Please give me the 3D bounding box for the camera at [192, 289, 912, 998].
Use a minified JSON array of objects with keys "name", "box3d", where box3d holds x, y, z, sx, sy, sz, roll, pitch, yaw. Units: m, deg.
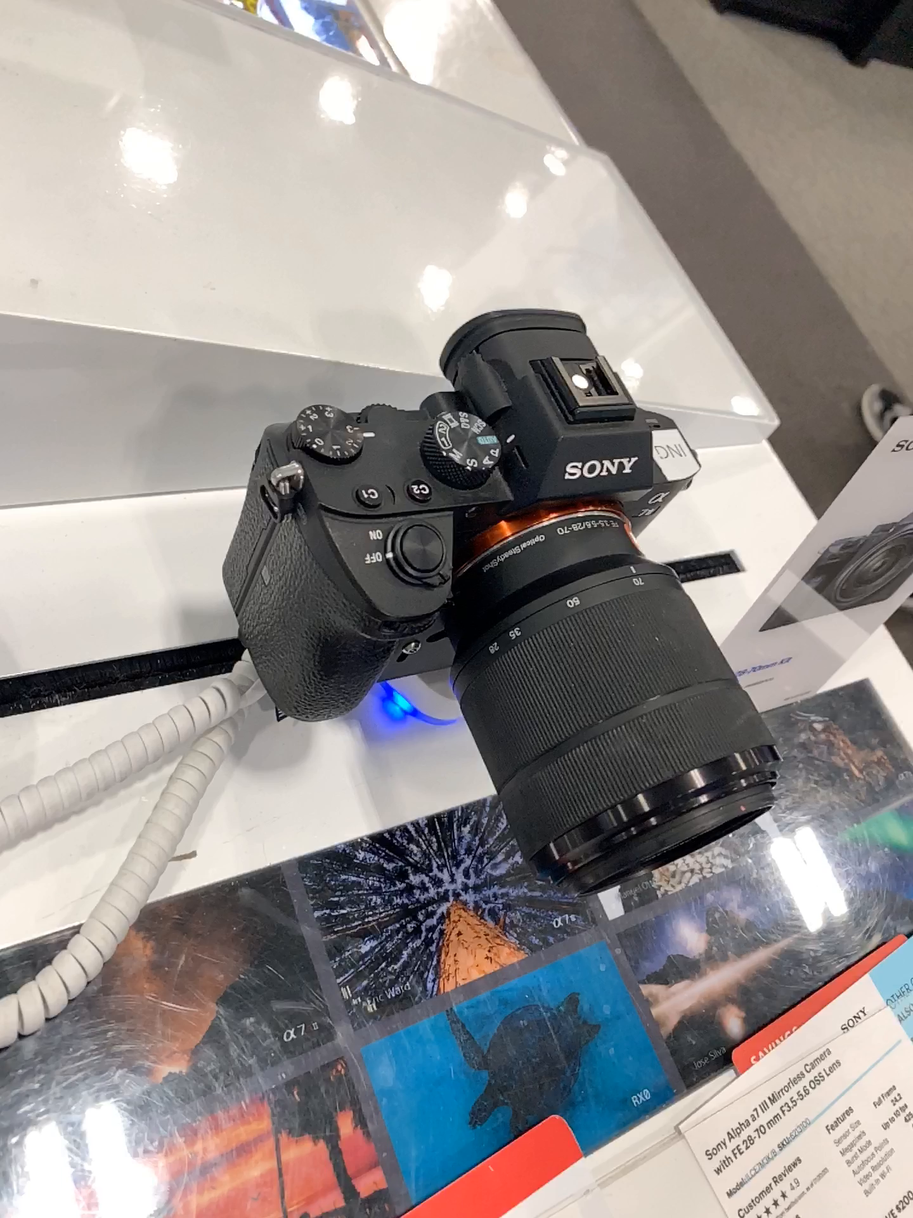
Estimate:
[{"name":"camera","box3d":[0.018,0.003,0.257,0.119,0.100,0.140,-14,68,-33]}]
